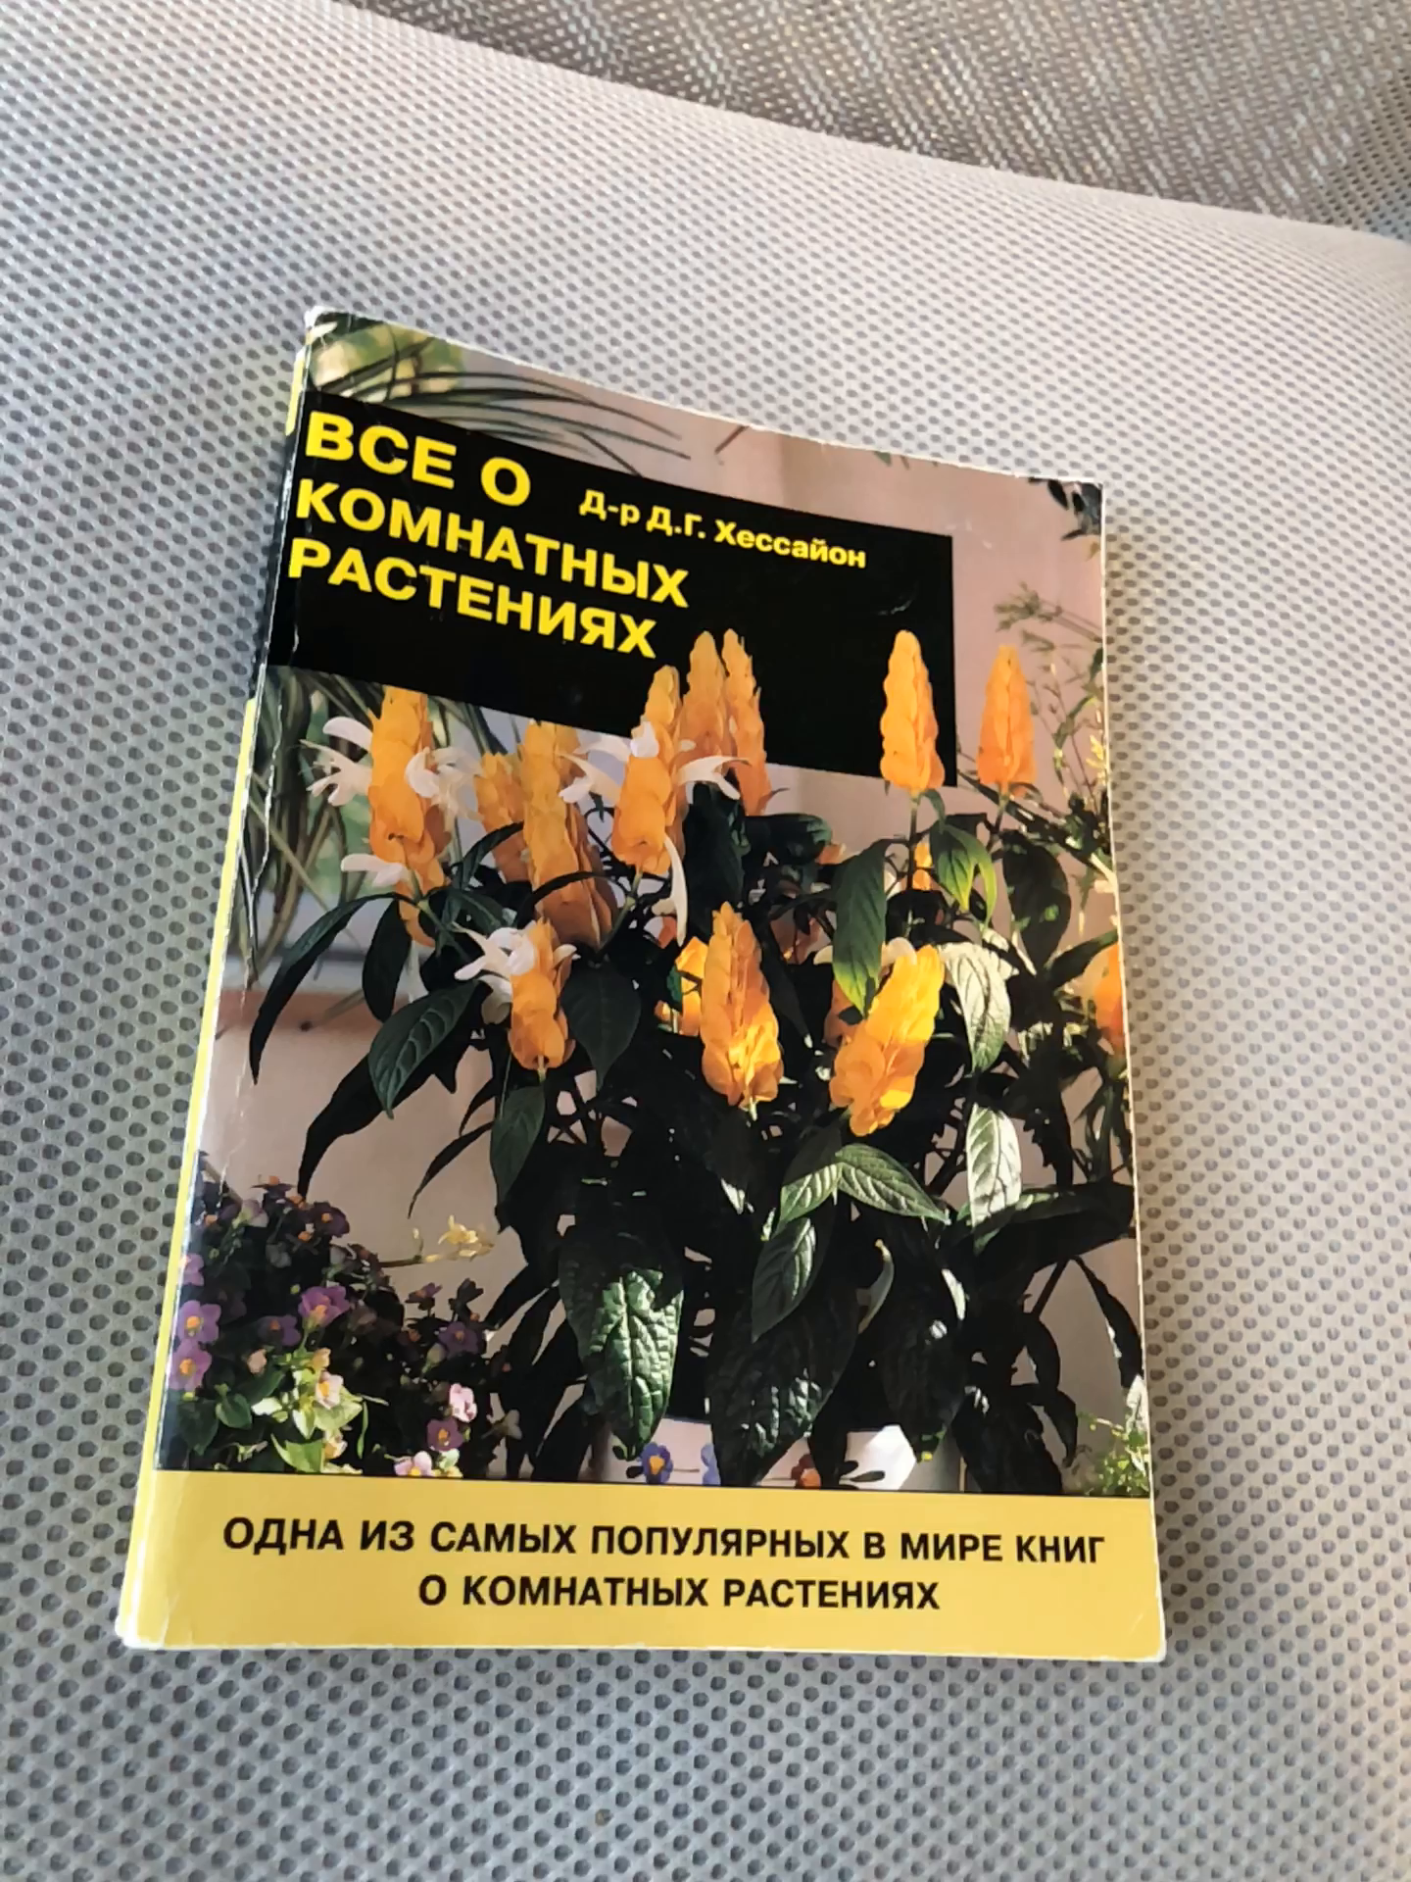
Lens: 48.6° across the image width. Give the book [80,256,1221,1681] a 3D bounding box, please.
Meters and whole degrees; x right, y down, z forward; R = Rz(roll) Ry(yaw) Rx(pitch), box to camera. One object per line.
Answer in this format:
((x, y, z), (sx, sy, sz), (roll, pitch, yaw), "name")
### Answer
((0.000, 0.002, 0.277), (0.170, 0.030, 0.230), (8, 69, -16), "book")
